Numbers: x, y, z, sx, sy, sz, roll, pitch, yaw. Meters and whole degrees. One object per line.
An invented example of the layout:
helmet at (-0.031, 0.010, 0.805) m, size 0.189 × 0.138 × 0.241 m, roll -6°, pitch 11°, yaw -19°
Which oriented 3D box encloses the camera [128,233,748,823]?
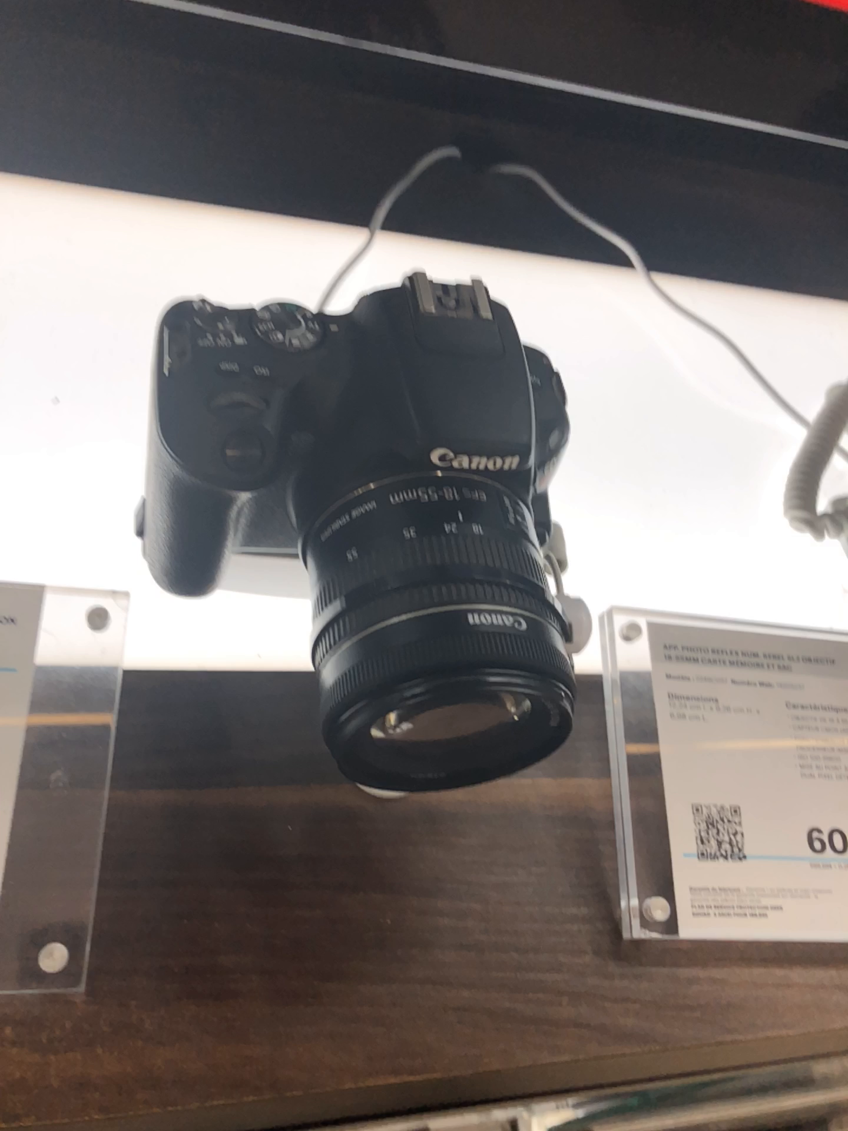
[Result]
camera at (-0.010, -0.008, 0.247) m, size 0.124 × 0.082 × 0.119 m, roll 2°, pitch 53°, yaw -17°
